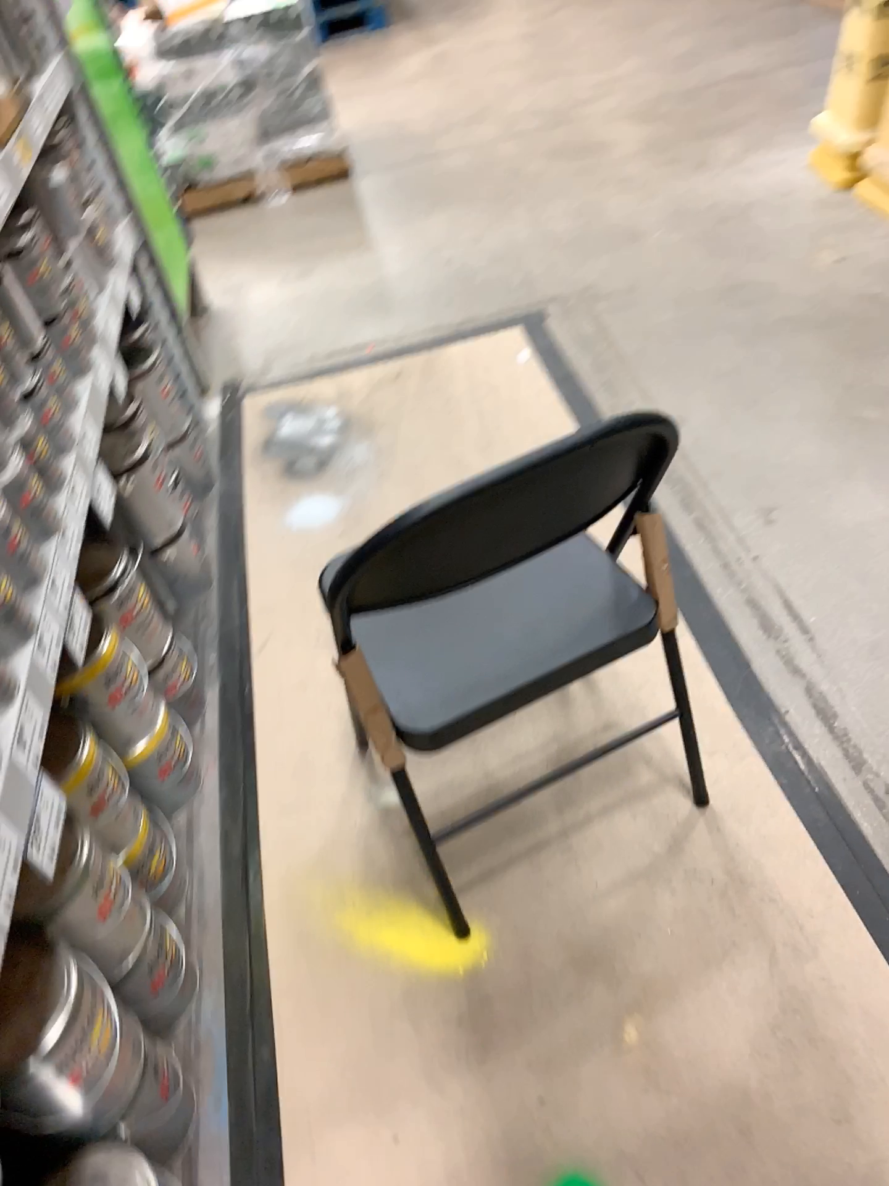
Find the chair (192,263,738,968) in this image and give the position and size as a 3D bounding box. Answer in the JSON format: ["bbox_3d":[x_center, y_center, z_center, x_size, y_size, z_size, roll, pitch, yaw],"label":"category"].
[{"bbox_3d":[0.049,0.040,1.237,0.451,0.713,0.476,-24,43,-11],"label":"chair"}]
